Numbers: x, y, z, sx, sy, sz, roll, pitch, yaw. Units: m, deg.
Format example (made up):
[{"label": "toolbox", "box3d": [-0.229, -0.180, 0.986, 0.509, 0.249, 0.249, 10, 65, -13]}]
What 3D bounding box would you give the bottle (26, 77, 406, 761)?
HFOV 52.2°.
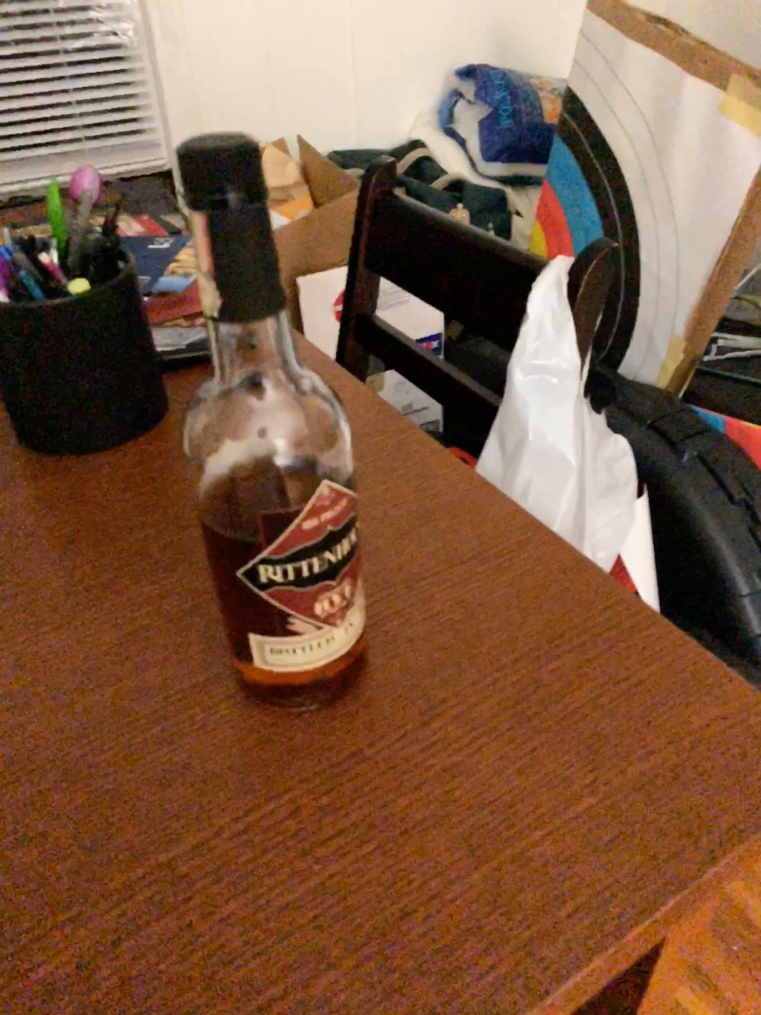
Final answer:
[{"label": "bottle", "box3d": [-0.055, -0.024, 0.358, 0.090, 0.288, 0.090, -2, 38, 1]}]
